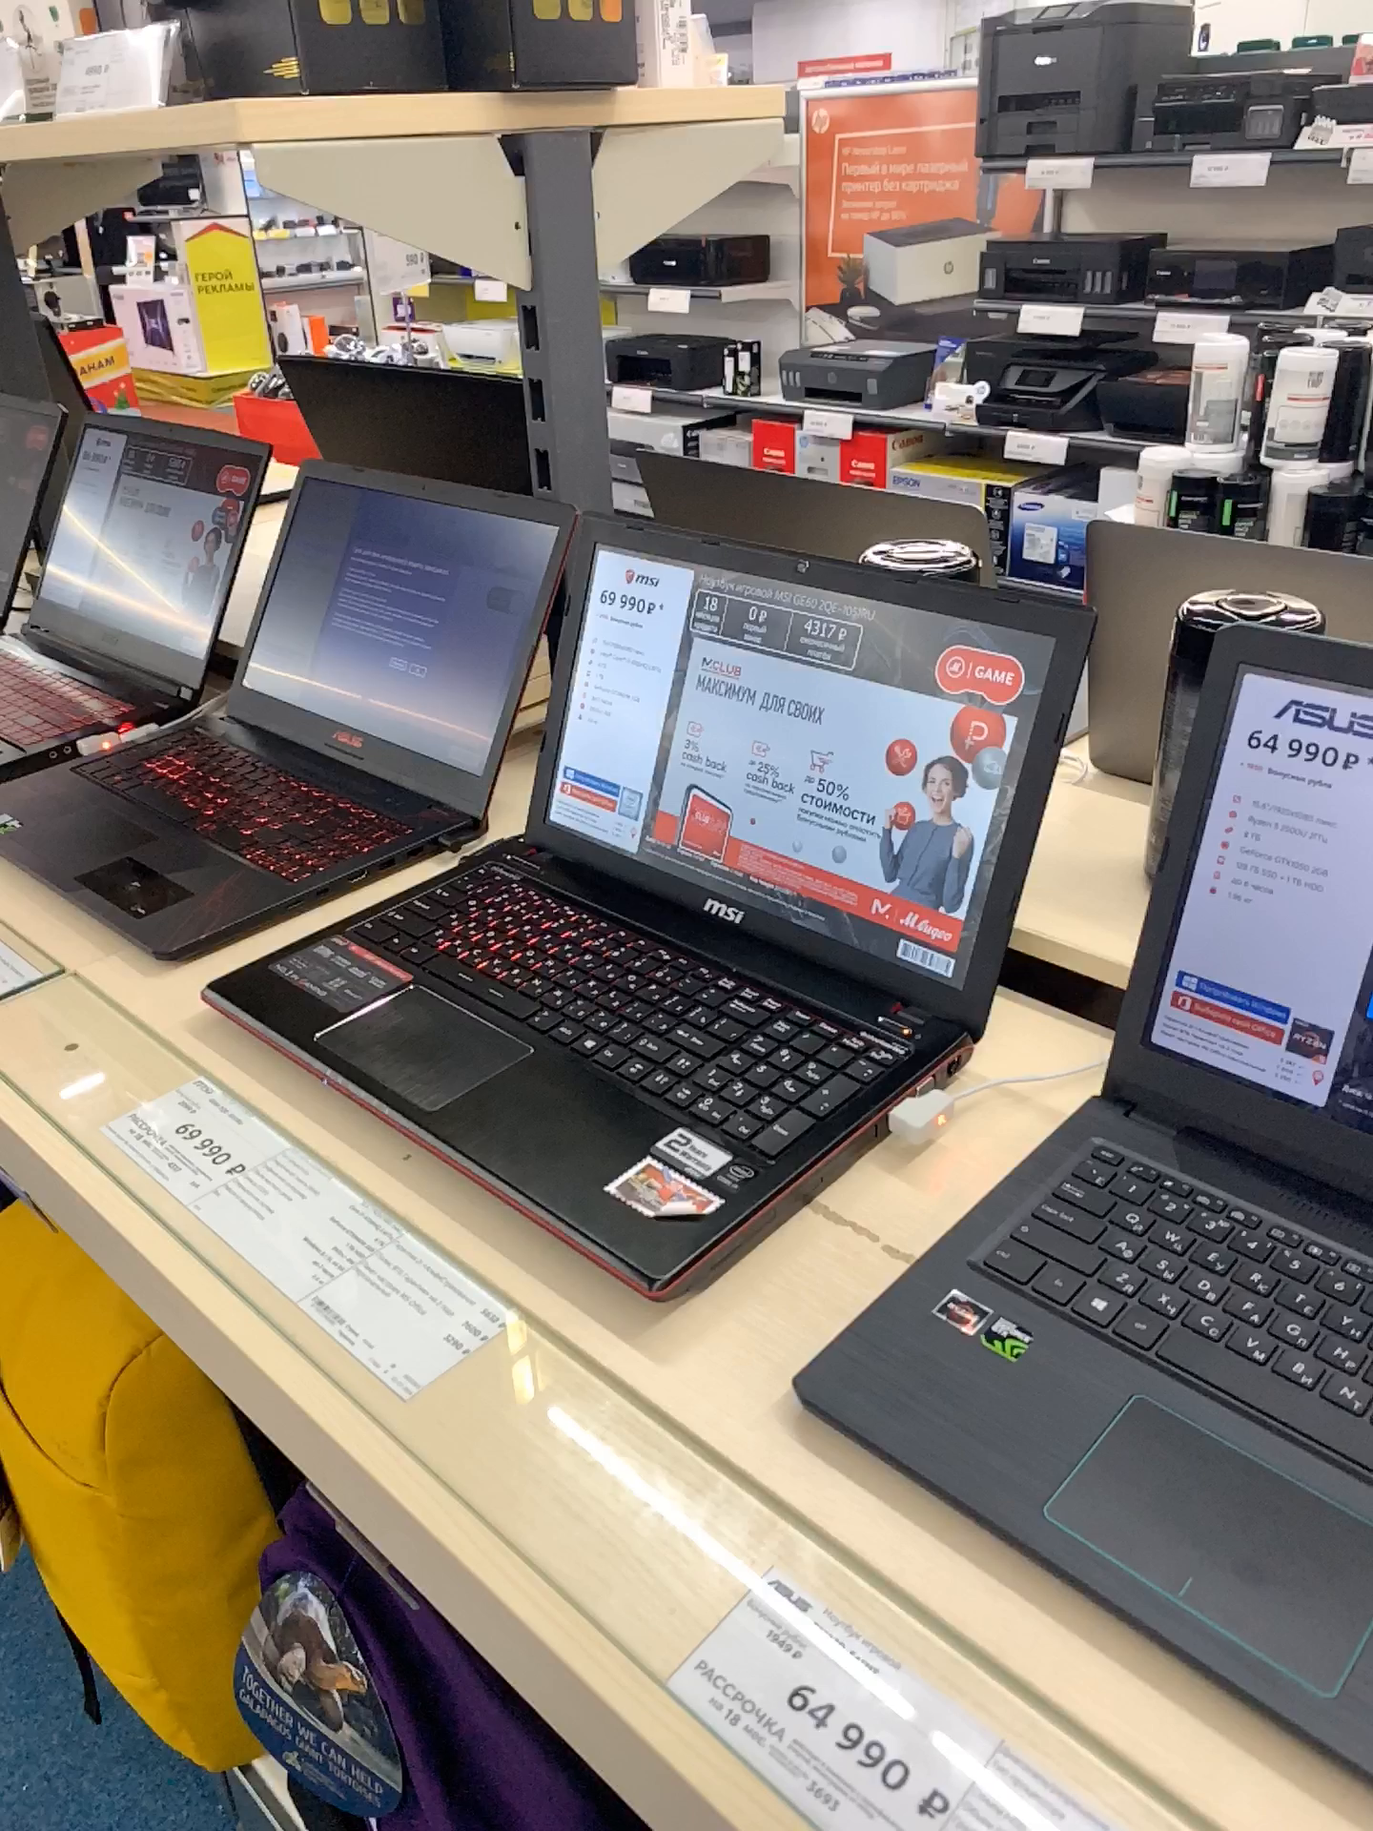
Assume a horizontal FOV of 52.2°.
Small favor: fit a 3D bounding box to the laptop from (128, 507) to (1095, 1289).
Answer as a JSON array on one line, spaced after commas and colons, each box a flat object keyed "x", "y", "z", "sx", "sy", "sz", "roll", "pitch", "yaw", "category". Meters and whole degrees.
[{"x": -0.036, "y": -0.054, "z": 0.726, "sx": 0.356, "sy": 0.197, "sz": 0.313, "roll": 23, "pitch": 38, "yaw": 38, "category": "laptop"}]
